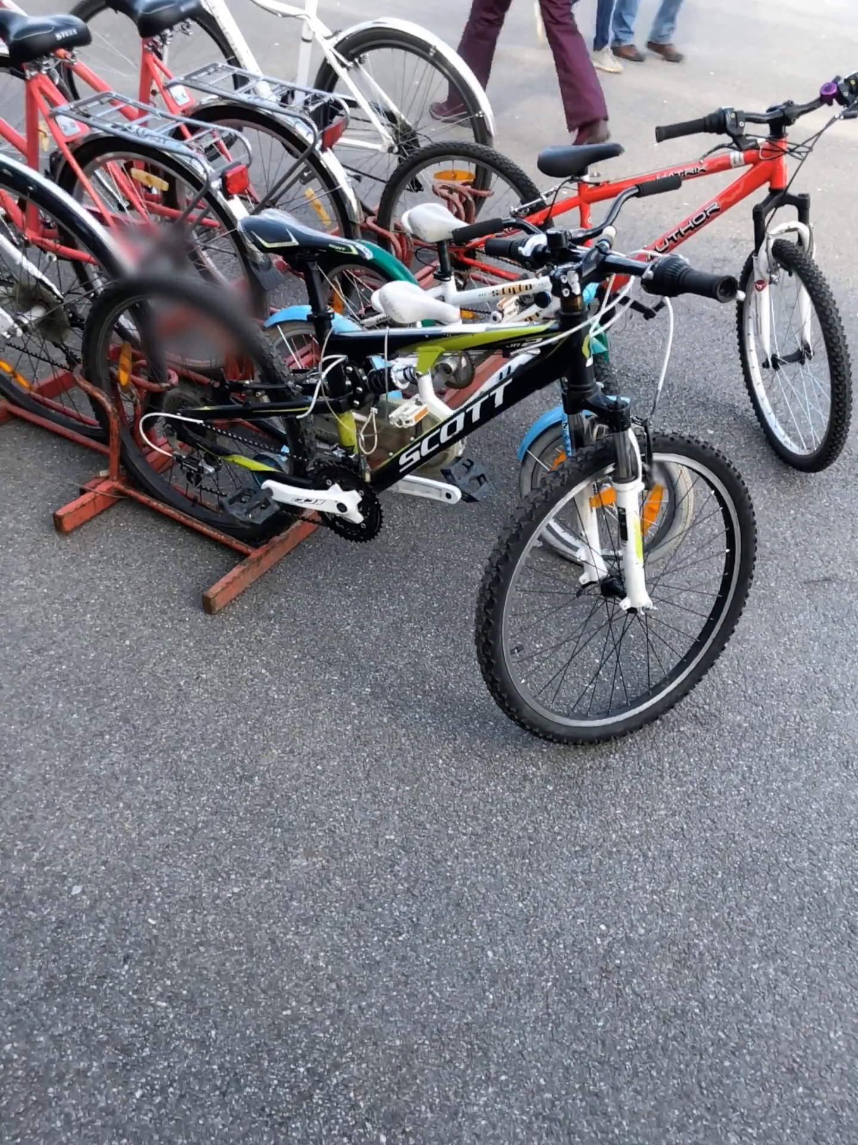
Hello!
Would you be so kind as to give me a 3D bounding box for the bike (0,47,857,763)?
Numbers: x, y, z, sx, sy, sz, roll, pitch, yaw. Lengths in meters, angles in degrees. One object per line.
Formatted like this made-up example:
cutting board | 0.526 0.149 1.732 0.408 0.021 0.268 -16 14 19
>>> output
bike | -0.064 -0.333 1.723 1.373 0.901 0.531 17 39 13
